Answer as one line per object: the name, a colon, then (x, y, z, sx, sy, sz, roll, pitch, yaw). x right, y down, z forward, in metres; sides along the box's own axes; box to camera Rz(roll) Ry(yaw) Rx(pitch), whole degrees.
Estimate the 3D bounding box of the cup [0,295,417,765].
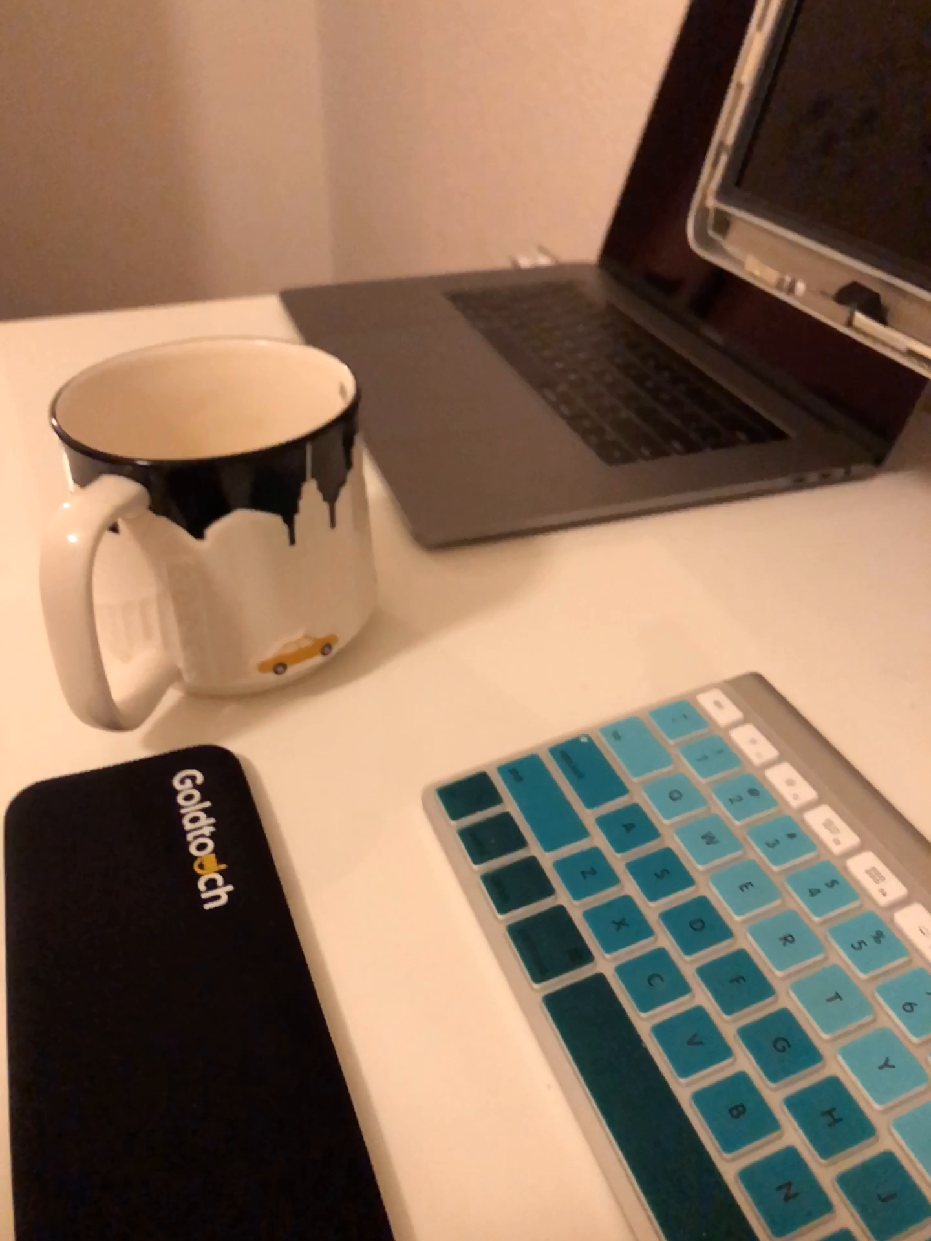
cup: (-0.087, -0.041, 0.361, 0.110, 0.089, 0.151, 6, 36, 8)
